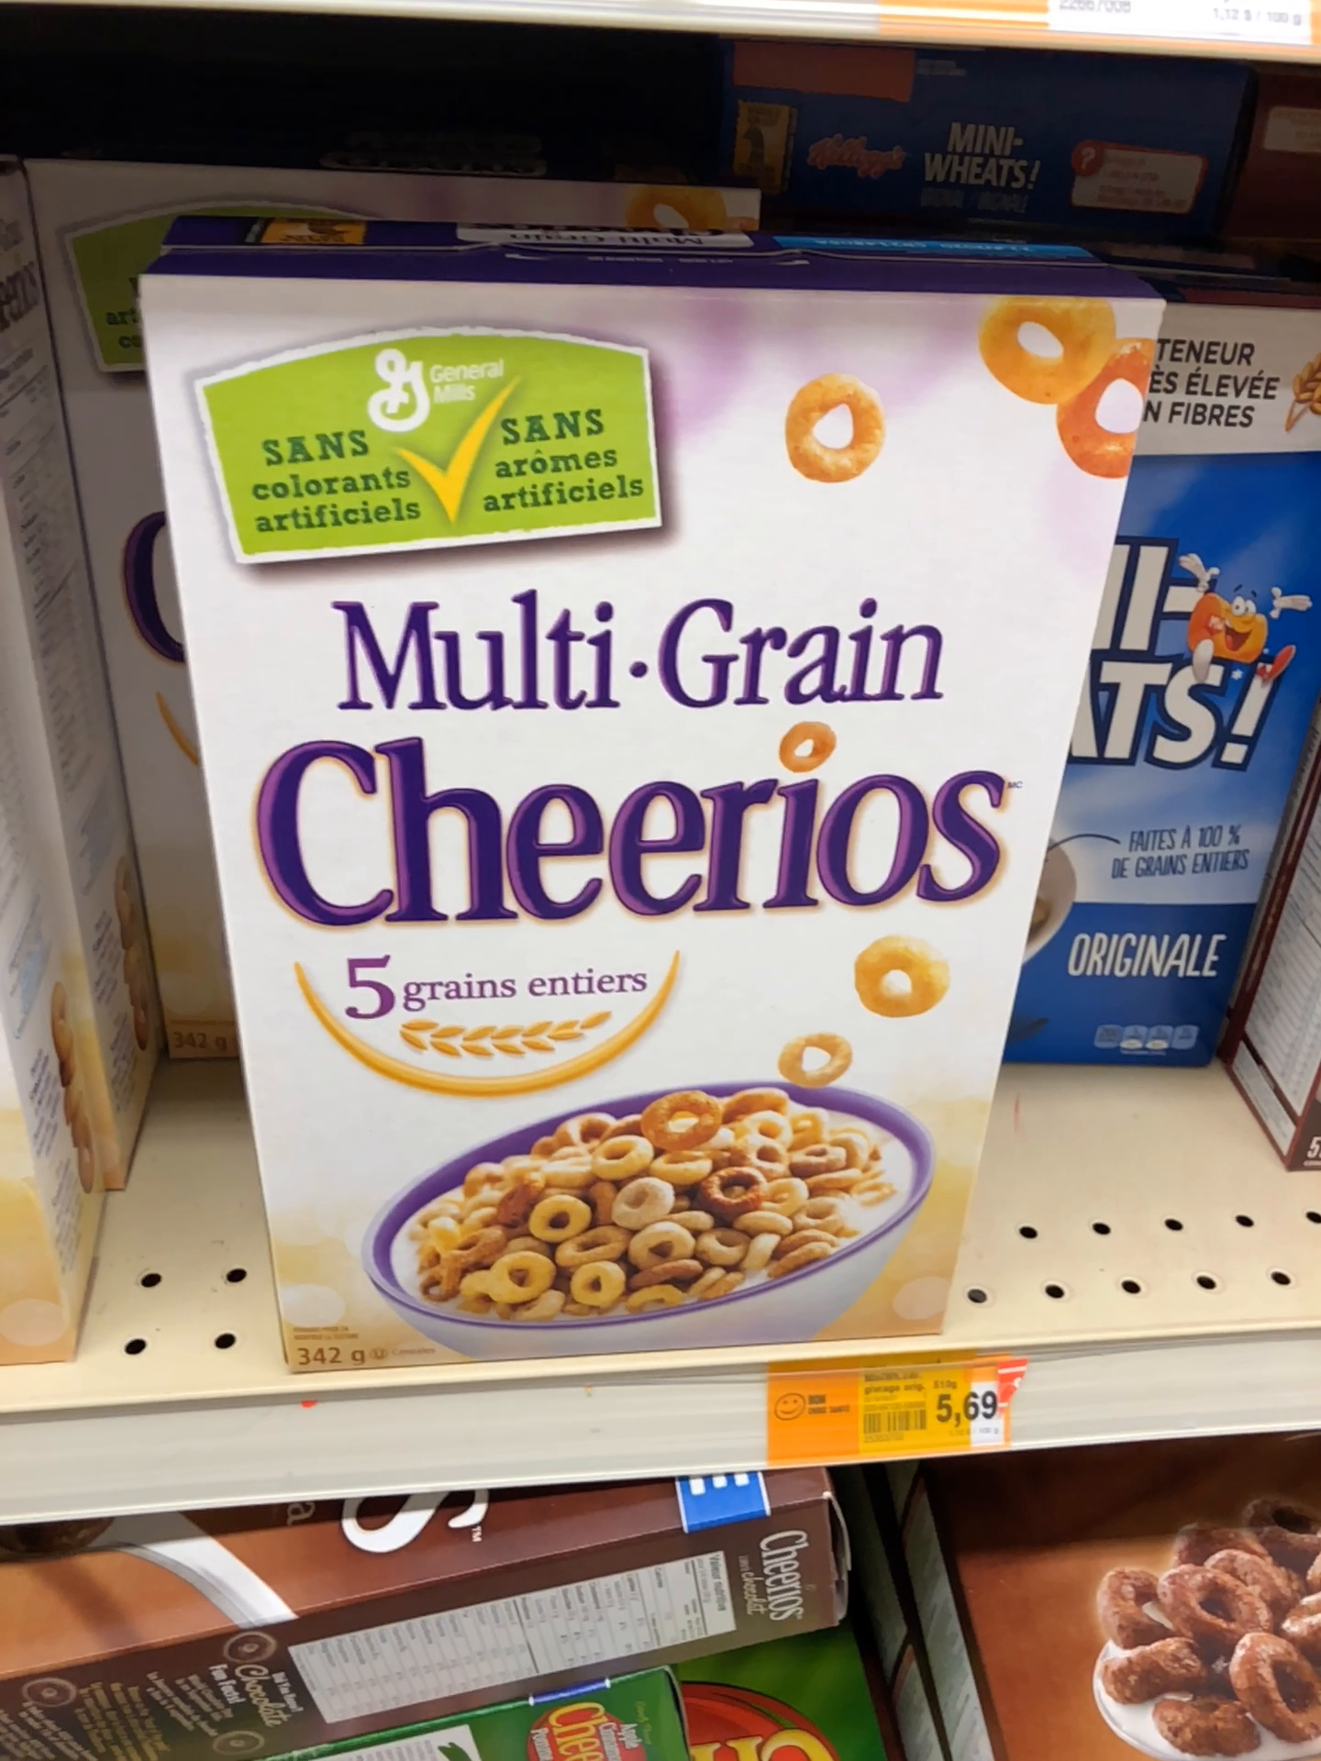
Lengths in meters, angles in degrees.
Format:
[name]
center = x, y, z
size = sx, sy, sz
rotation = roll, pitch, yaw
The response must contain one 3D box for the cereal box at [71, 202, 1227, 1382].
[cereal box]
center = -0.008, -0.003, 0.350
size = 0.200, 0.278, 0.060
rotation = -1, 32, -7
